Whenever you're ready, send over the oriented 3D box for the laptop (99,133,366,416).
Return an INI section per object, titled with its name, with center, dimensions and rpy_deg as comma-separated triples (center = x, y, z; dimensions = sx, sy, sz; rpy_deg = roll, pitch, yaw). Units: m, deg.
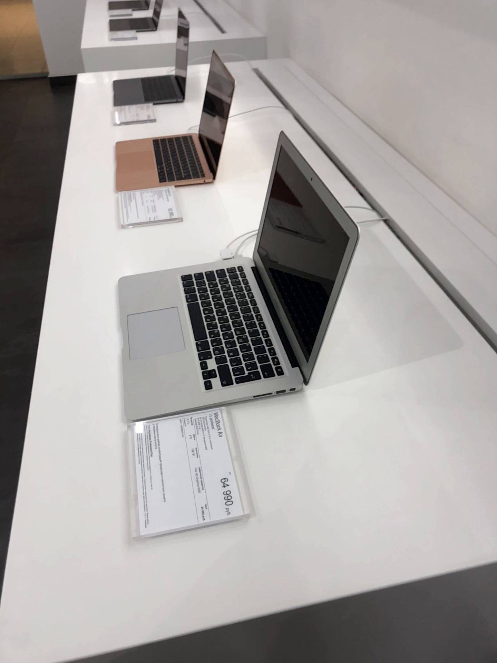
[laptop]
center = -0.041, -0.096, 0.726
dimensions = 0.270, 0.207, 0.317
rpy_deg = -9, 38, -8
